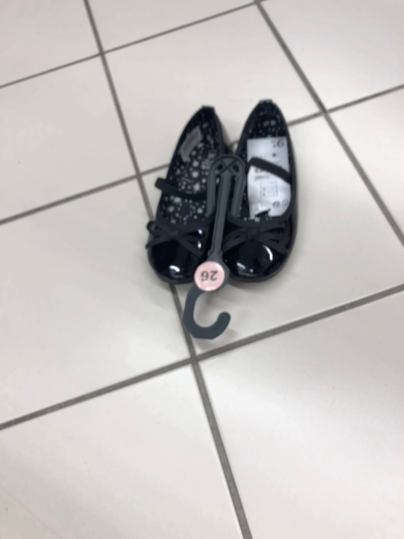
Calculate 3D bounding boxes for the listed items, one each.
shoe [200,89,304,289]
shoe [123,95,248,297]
[{"bbox_3d":[0.049,-0.074,0.397,0.074,0.055,0.172,3,64,10],"label":"shoe"},{"bbox_3d":[-0.007,-0.070,0.406,0.072,0.059,0.174,6,64,11],"label":"shoe"}]
